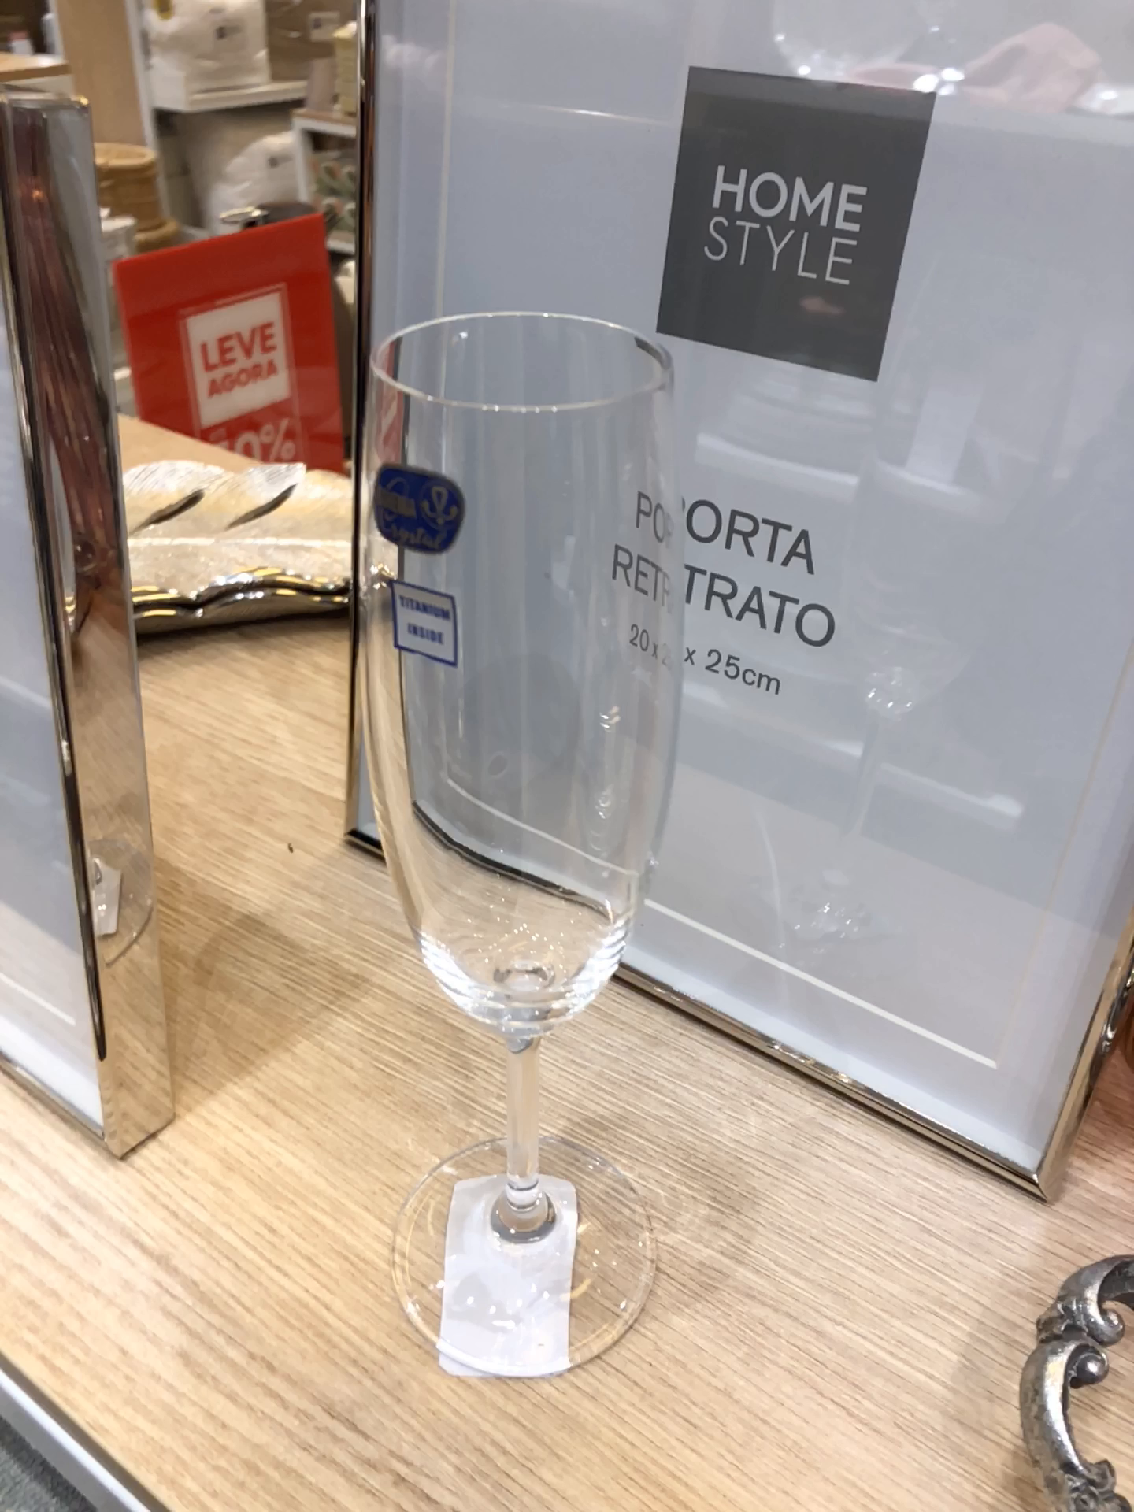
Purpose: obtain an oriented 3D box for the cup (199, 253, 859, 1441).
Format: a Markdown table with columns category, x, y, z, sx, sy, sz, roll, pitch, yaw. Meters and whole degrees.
| category | x | y | z | sx | sy | sz | roll | pitch | yaw |
| --- | --- | --- | --- | --- | --- | --- | --- | --- | --- |
| cup | -0.006 | 0.028 | 0.246 | 0.070 | 0.218 | 0.070 | 1 | 34 | -1 |
